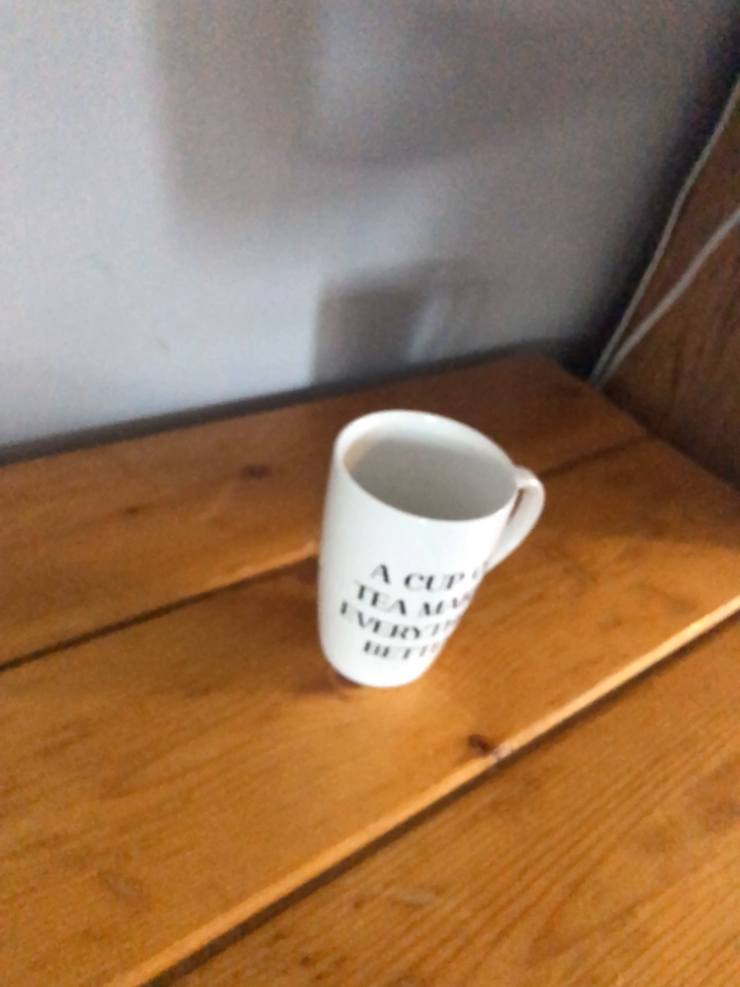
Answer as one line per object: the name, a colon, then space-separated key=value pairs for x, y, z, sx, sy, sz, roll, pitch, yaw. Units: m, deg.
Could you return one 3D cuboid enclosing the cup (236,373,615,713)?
cup: x=0.022 y=0.020 z=0.436 sx=0.140 sy=0.120 sz=0.100 roll=-9 pitch=44 yaw=-30
